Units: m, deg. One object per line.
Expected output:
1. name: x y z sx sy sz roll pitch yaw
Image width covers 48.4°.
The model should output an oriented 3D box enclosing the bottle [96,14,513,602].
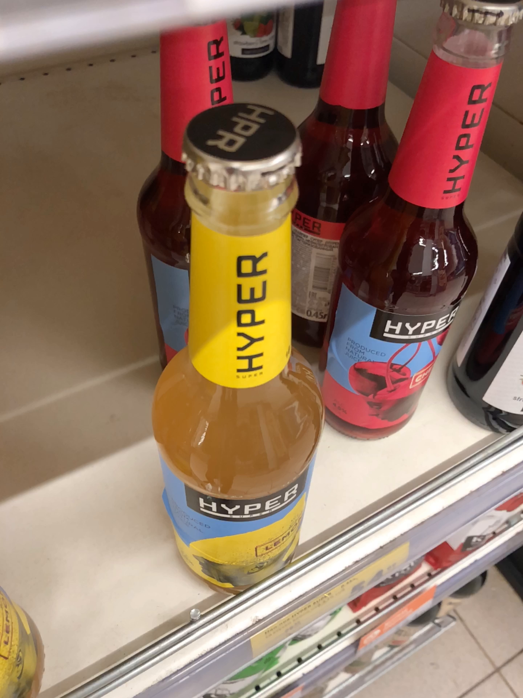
1. bottle: -0.001 0.016 0.228 0.080 0.239 0.080 1 51 -2
